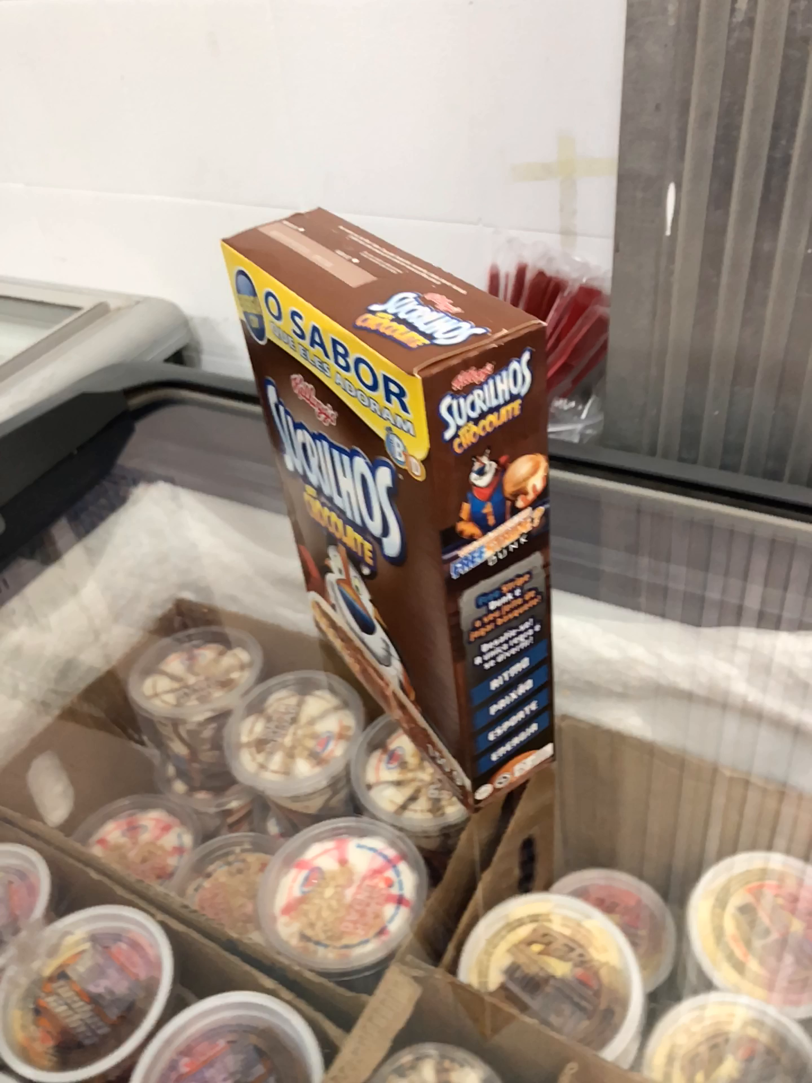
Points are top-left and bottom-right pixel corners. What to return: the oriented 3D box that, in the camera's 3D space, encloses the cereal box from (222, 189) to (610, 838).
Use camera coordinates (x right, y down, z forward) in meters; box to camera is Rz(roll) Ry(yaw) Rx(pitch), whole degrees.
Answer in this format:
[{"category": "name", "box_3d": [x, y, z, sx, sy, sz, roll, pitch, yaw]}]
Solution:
[{"category": "cereal box", "box_3d": [0.005, -0.009, 0.355, 0.050, 0.208, 0.151, -27, 43, -21]}]
